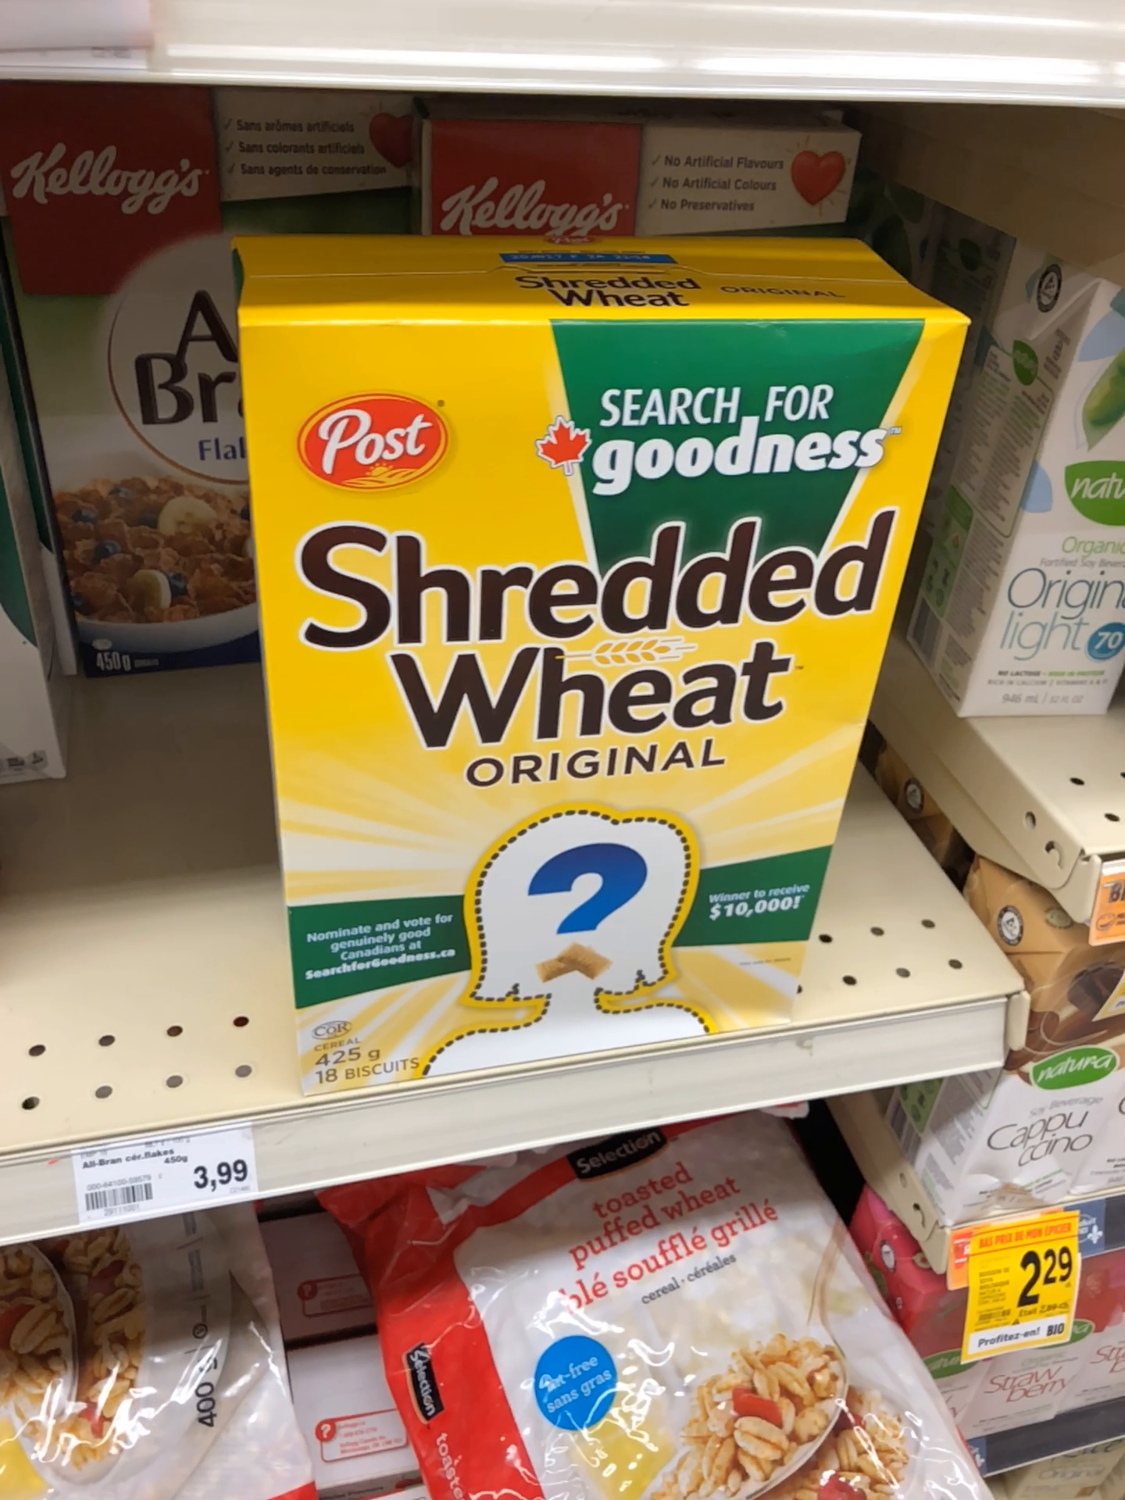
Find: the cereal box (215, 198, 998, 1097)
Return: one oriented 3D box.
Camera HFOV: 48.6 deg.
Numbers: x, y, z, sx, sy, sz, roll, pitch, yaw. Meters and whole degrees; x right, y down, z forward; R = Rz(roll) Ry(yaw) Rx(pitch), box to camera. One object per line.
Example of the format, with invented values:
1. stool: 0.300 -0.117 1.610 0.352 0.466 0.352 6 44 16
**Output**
1. cereal box: 0.001 -0.024 0.423 0.200 0.288 0.081 -6 37 -14
